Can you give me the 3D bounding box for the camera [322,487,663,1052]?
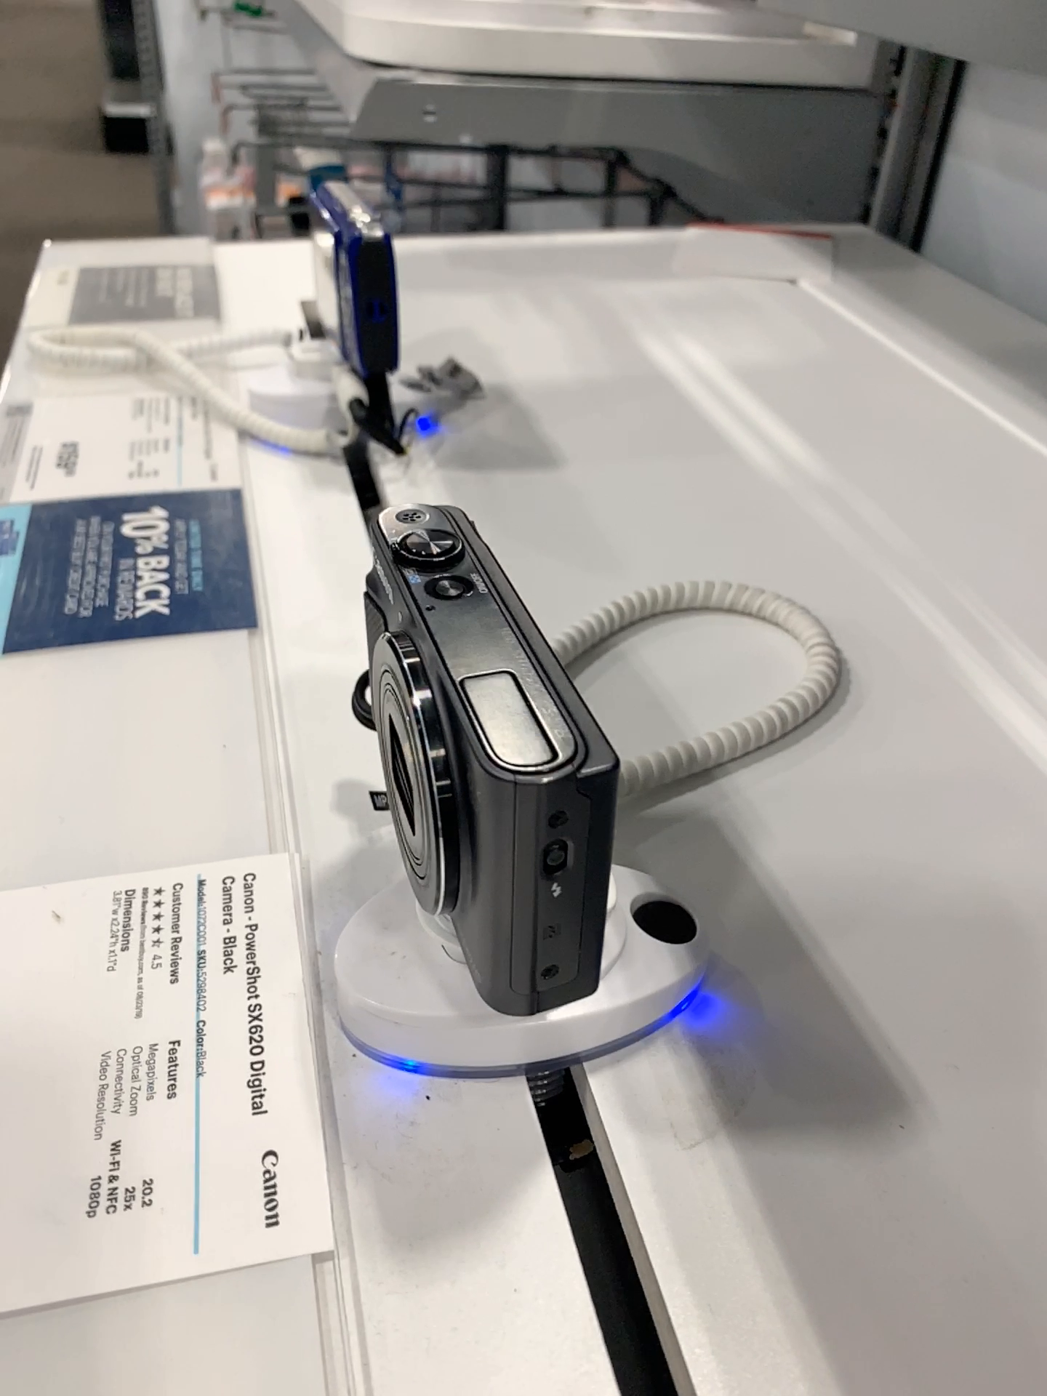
[{"bbox_3d":[-0.012,0.007,0.207,0.031,0.050,0.100,-9,39,-17],"label":"camera"}]
